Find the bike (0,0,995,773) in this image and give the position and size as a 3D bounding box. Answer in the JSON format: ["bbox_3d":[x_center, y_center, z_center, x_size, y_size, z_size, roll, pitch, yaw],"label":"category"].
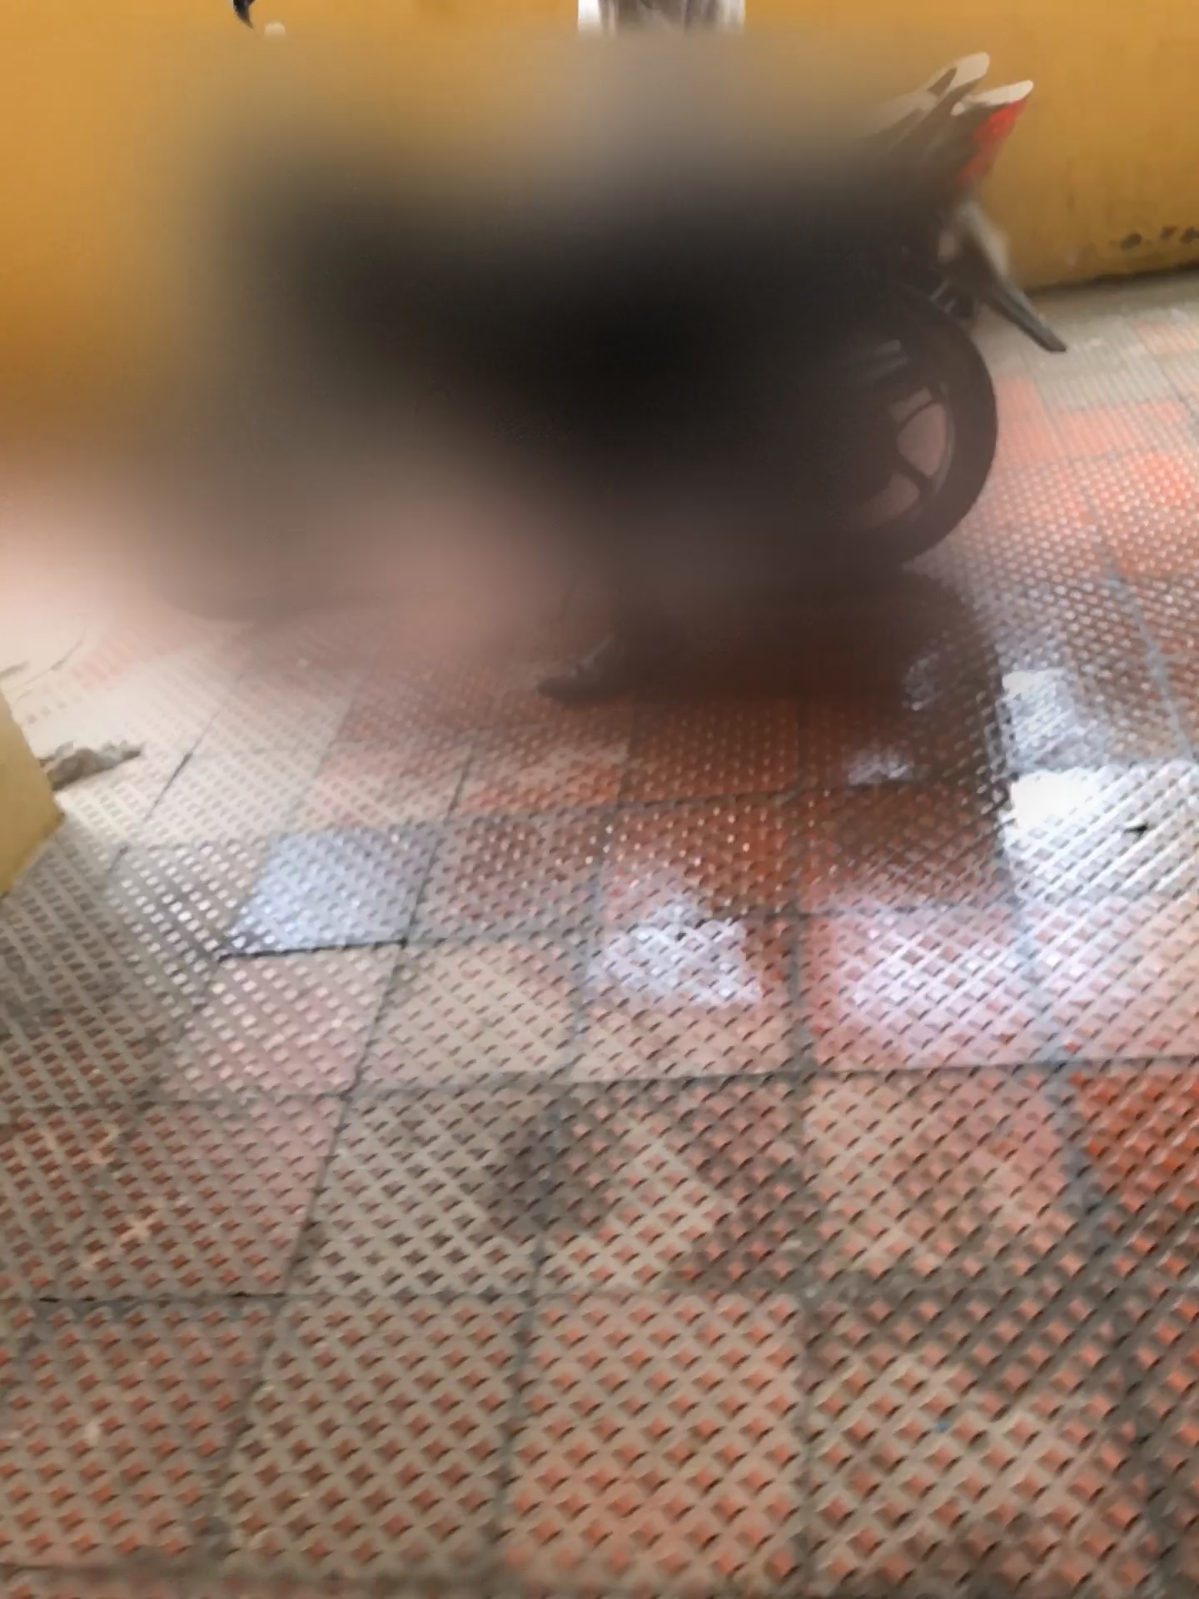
[{"bbox_3d":[-0.207,-0.872,2.614,1.874,1.185,0.815,-5,36,11],"label":"bike"}]
